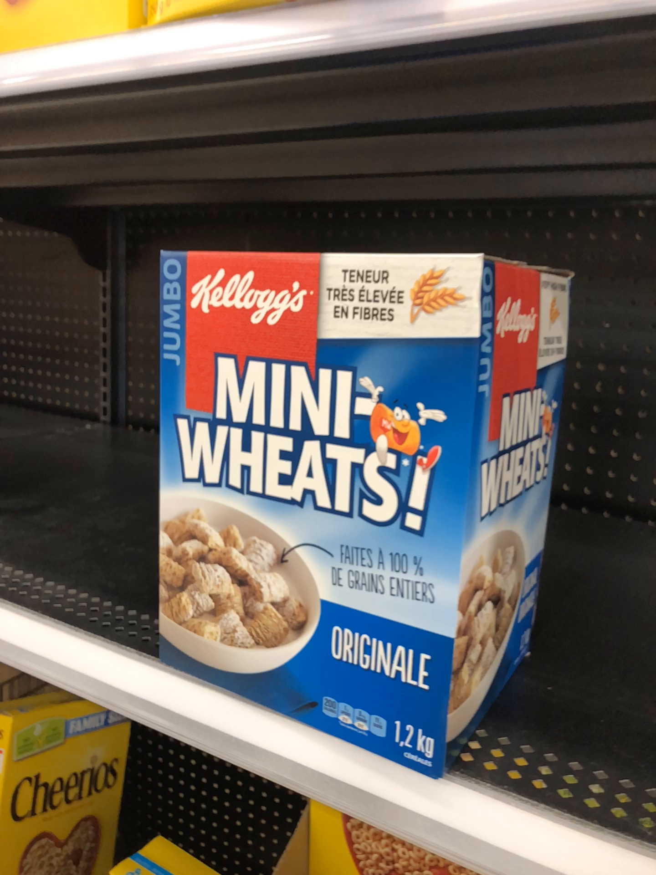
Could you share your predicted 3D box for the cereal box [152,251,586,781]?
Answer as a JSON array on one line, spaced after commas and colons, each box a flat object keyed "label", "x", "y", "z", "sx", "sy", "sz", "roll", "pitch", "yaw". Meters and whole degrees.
[{"label": "cereal box", "x": 0.025, "y": 0.019, "z": 0.457, "sx": 0.200, "sy": 0.249, "sz": 0.170, "roll": 9, "pitch": 13, "yaw": 31}]
